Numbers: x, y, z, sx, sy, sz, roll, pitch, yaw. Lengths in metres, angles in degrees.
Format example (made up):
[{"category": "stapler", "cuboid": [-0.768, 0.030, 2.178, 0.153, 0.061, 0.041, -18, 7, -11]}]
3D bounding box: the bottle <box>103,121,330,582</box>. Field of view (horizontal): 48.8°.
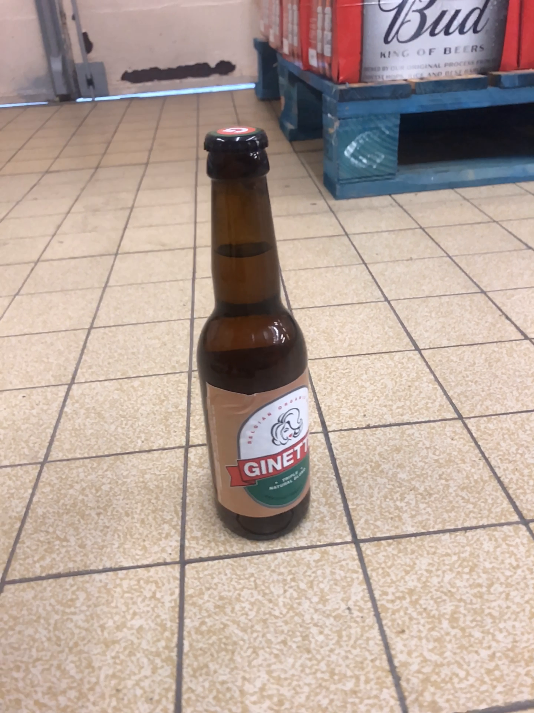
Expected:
[{"category": "bottle", "cuboid": [-0.017, 0.002, 0.306, 0.070, 0.219, 0.070, -3, 30, 2]}]
